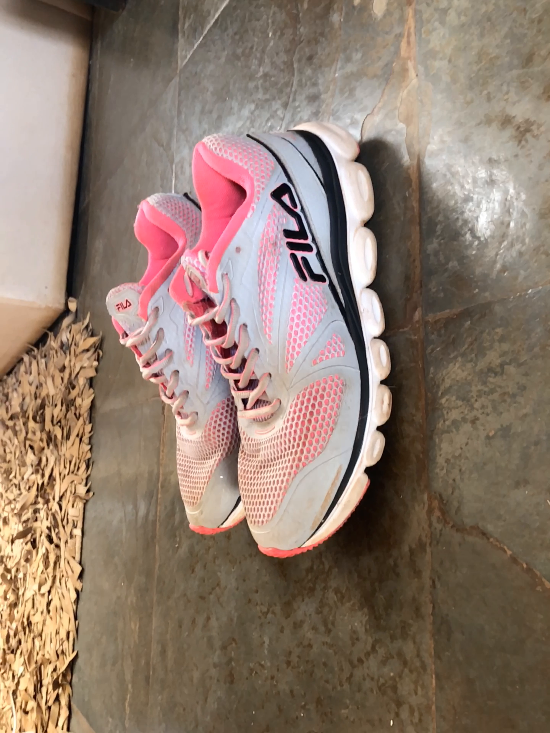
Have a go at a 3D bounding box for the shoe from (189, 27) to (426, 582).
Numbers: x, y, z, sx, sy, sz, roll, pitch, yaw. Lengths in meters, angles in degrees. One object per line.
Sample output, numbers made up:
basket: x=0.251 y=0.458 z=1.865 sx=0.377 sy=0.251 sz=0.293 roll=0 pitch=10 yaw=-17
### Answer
shoe: x=0.016 y=-0.031 z=0.385 sx=0.110 sy=0.100 sz=0.290 roll=-9 pitch=79 yaw=59

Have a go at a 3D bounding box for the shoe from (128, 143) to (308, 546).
shoe: x=-0.050 y=-0.012 z=0.487 sx=0.110 sy=0.100 sz=0.280 roll=-15 pitch=74 yaw=58
